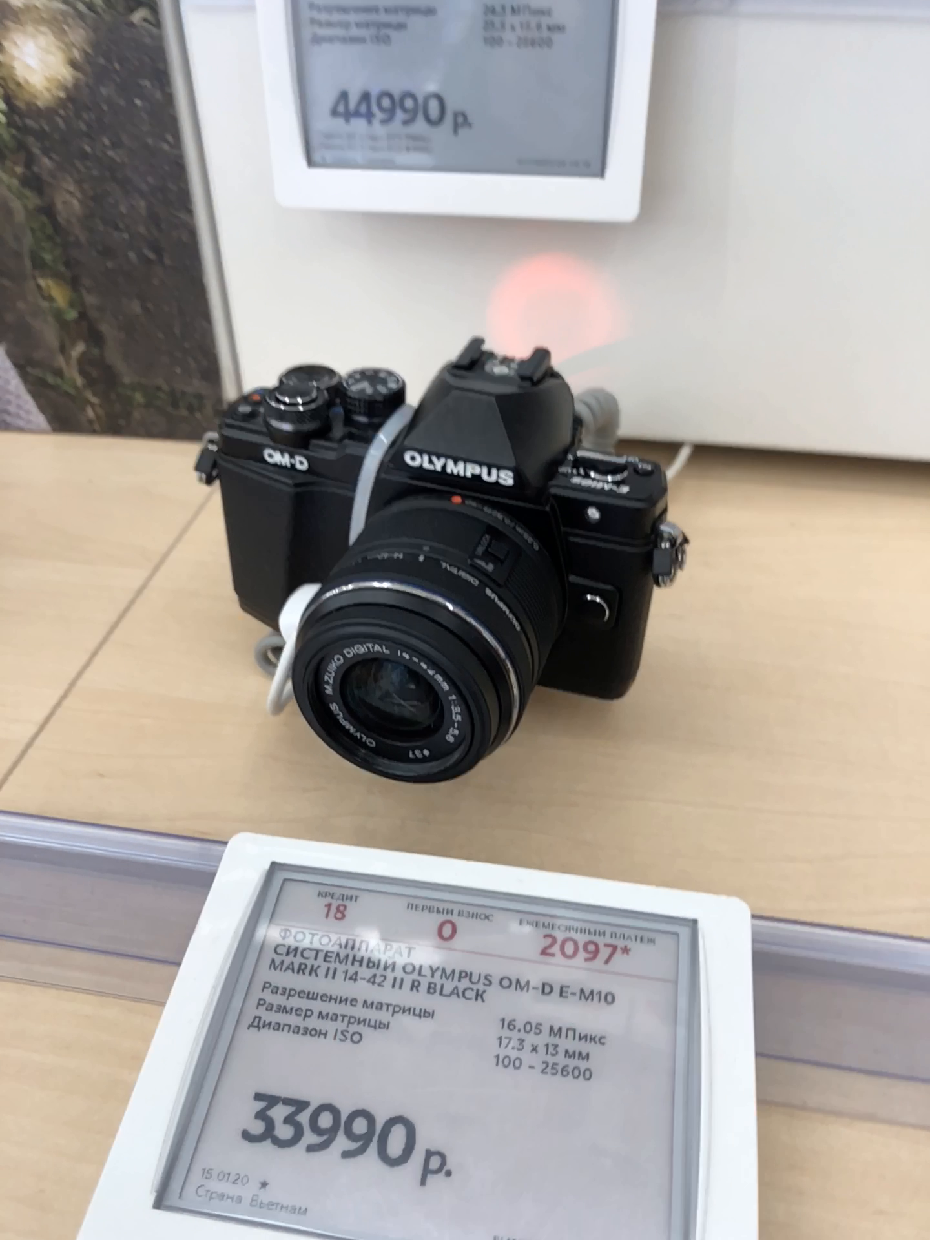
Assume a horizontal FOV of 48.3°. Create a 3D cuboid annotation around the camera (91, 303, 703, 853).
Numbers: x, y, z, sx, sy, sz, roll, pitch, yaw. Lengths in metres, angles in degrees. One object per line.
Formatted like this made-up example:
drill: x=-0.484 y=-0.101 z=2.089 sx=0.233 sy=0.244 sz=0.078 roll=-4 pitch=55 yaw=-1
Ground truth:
camera: x=-0.008 y=-0.018 z=0.260 sx=0.112 sy=0.079 sz=0.101 roll=10 pitch=39 yaw=14
